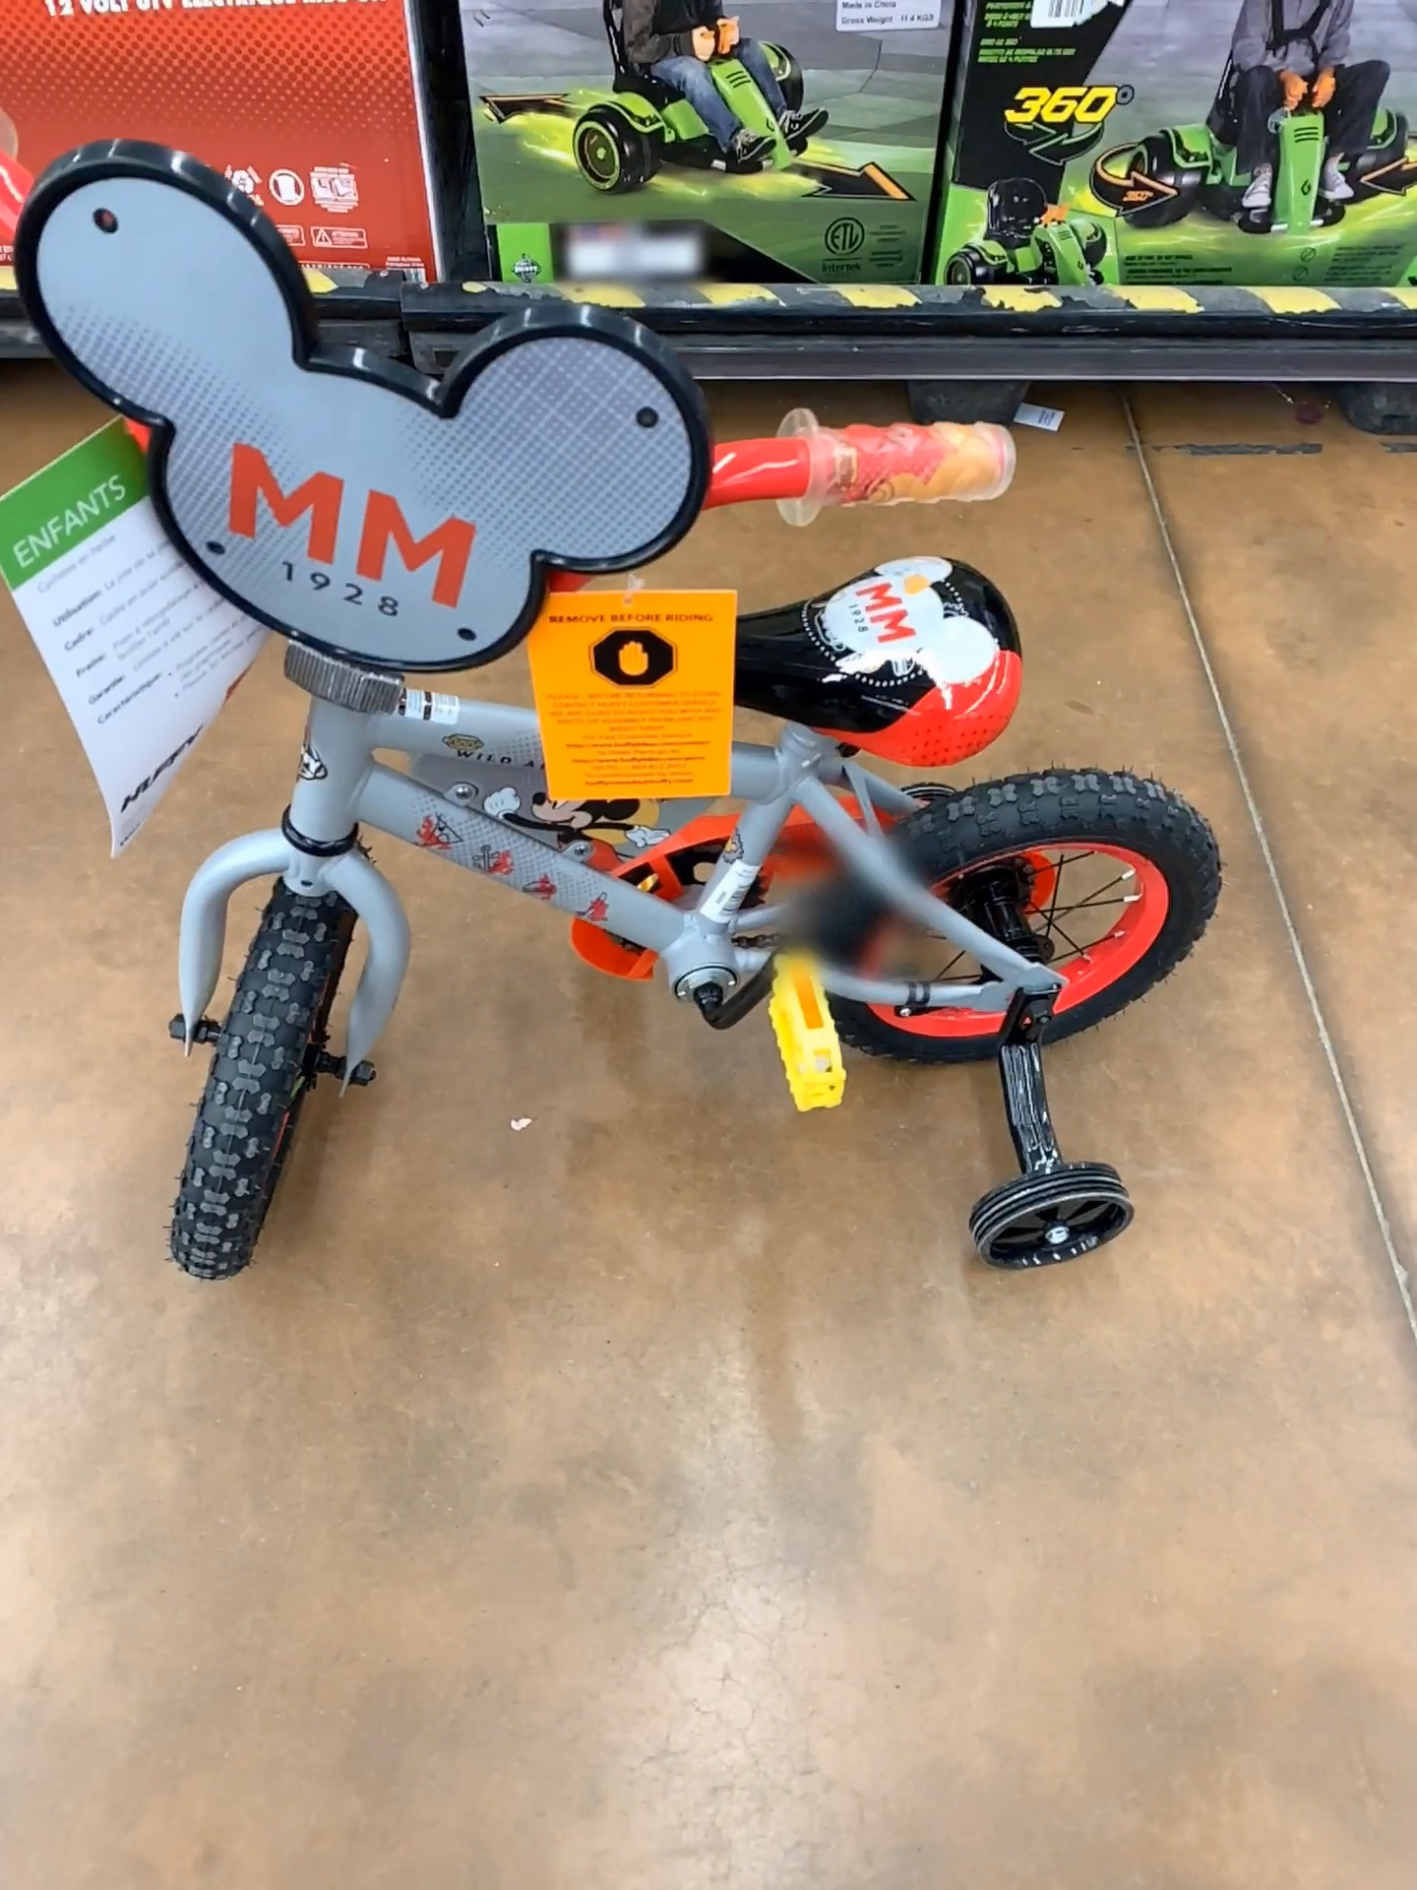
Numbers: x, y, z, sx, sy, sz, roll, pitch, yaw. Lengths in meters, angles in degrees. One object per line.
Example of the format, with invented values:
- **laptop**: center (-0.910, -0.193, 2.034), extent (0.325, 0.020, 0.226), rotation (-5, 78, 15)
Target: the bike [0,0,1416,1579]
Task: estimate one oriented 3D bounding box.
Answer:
- **bike**: center (-0.011, -0.088, 0.806), extent (0.641, 0.689, 0.453), rotation (-16, 53, -8)
